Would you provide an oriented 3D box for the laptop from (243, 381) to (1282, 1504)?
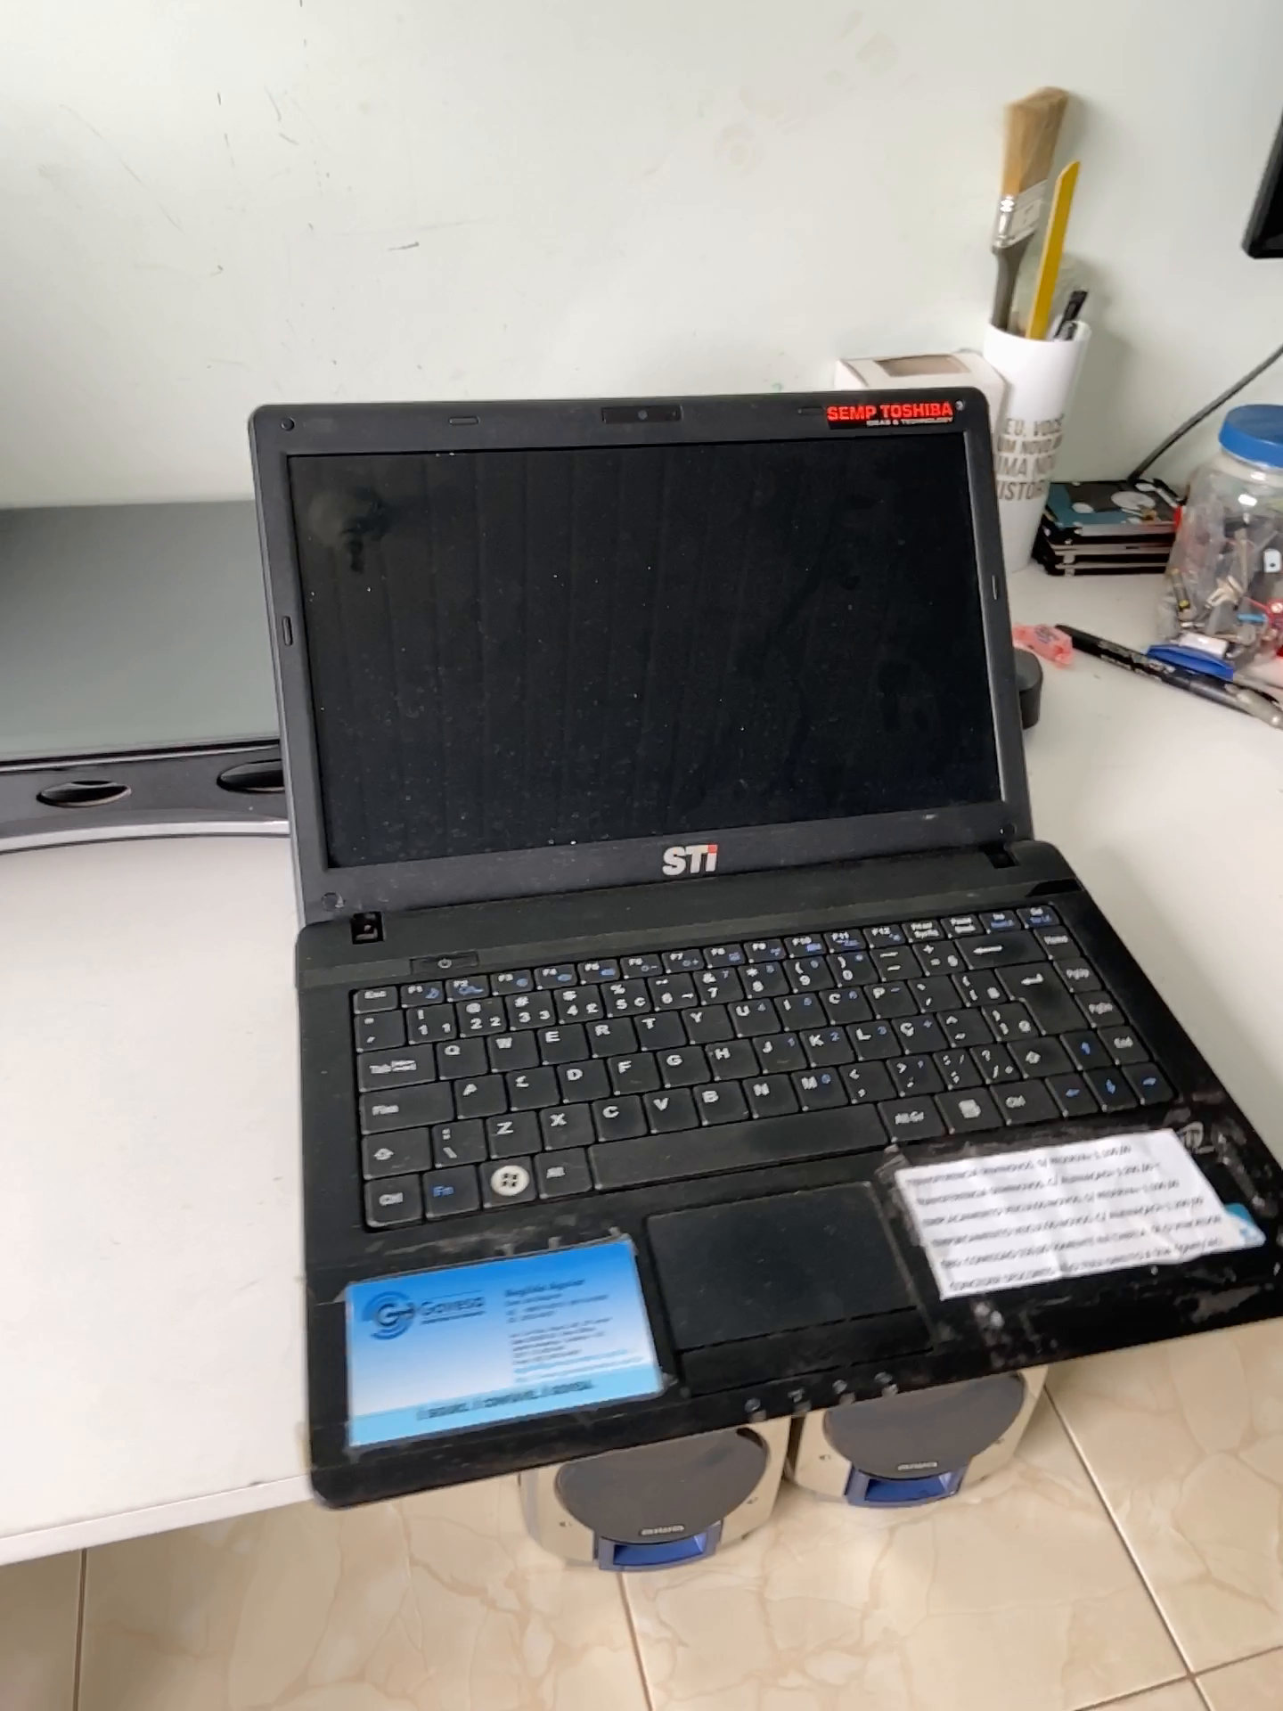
[{"bbox_3d":[0.038,-0.022,0.494,0.335,0.159,0.386,-6,41,-11],"label":"laptop"}]
